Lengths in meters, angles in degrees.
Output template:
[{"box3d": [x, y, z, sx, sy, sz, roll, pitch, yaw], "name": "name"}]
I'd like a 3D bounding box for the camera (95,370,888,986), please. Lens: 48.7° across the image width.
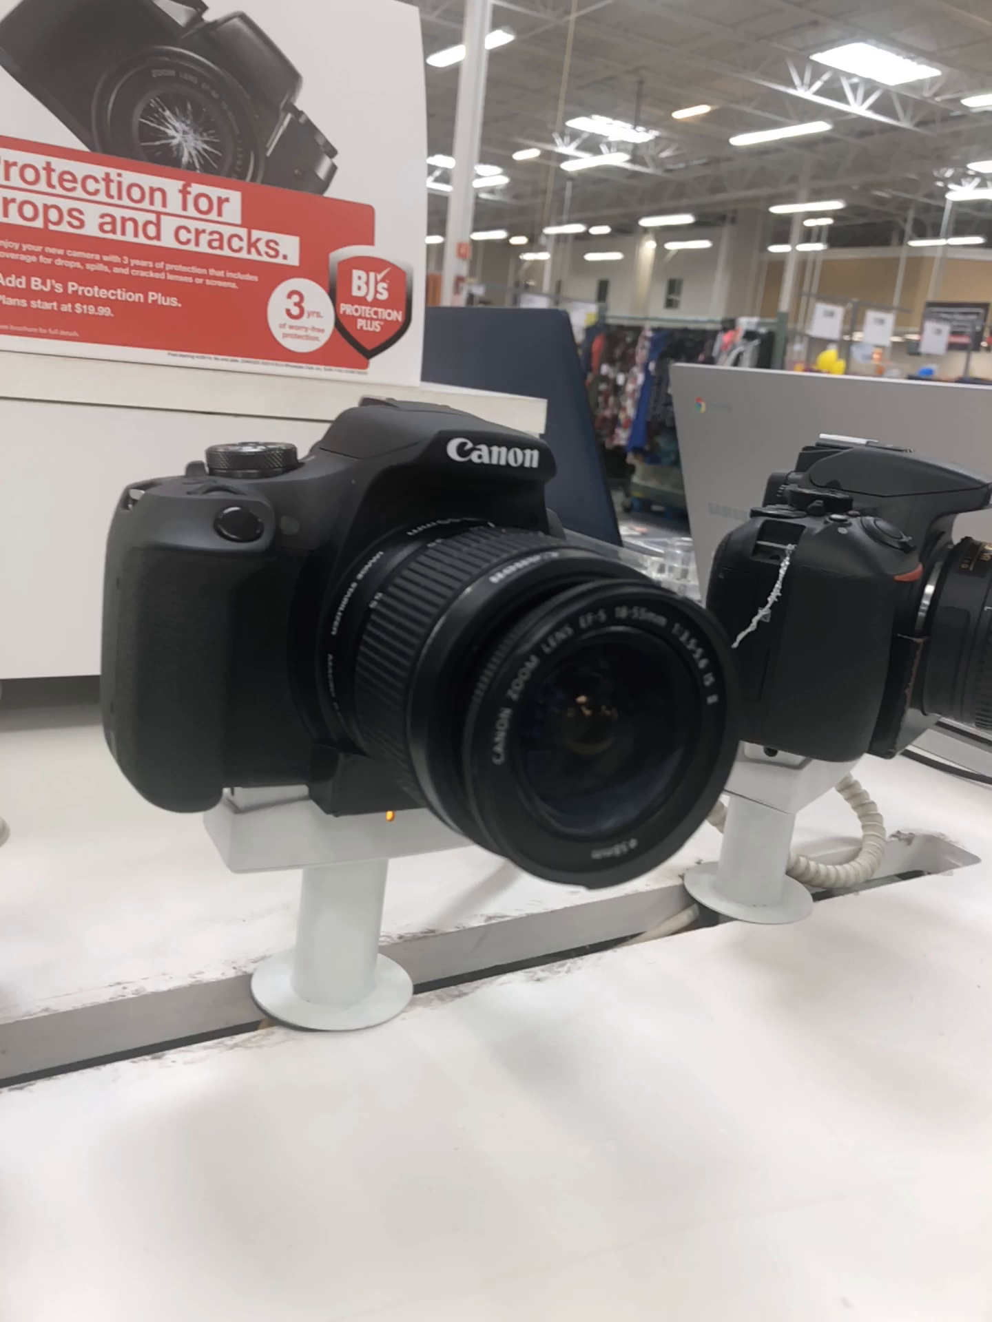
[{"box3d": [-0.012, -0.012, 0.260, 0.130, 0.092, 0.132, -3, 18, -32], "name": "camera"}]
